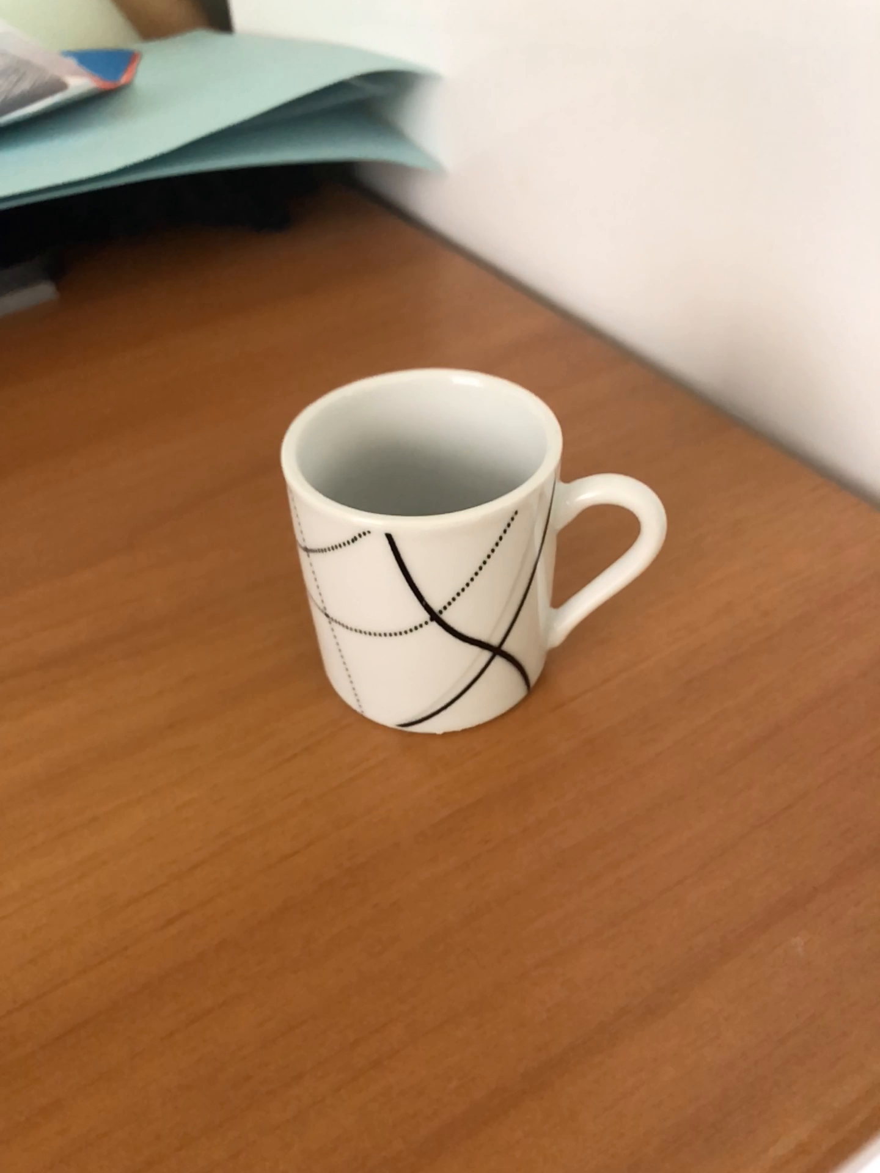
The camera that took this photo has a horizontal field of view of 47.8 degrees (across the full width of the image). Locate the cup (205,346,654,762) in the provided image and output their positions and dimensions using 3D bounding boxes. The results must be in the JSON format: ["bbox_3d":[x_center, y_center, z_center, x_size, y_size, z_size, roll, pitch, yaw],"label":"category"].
[{"bbox_3d":[0.002,-0.008,0.192,0.070,0.050,0.060,3,41,7],"label":"cup"}]
